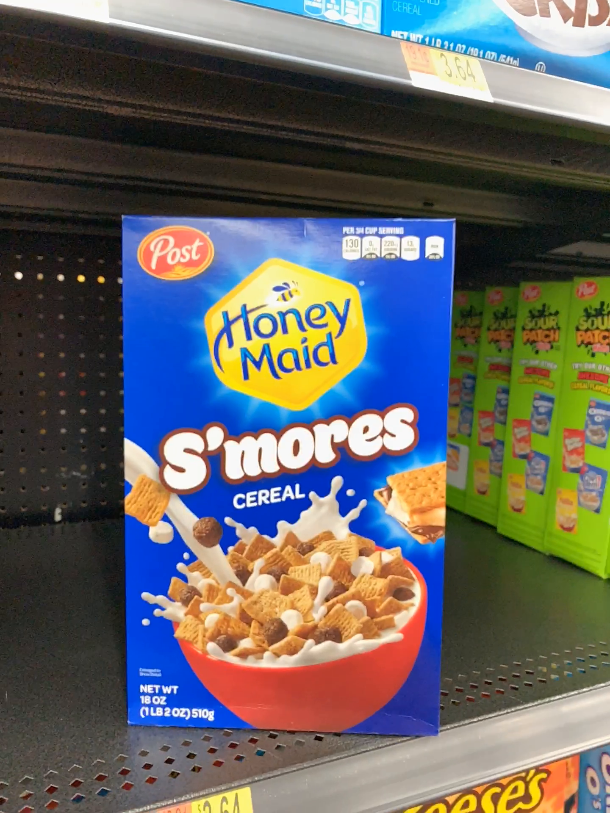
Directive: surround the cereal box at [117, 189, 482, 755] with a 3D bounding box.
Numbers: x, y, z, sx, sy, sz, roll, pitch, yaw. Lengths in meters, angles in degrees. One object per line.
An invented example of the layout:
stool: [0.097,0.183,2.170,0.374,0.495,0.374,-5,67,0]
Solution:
cereal box: [-0.006,0.039,0.396,0.200,0.320,0.070,2,4,1]
